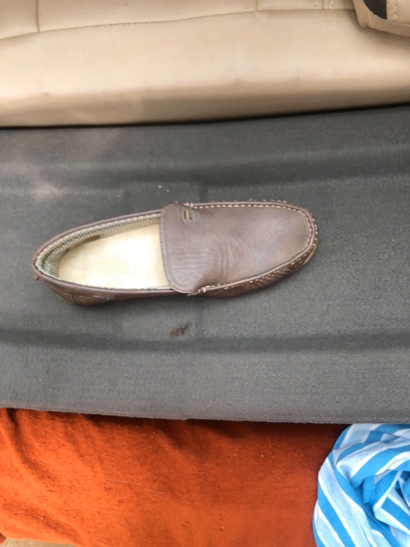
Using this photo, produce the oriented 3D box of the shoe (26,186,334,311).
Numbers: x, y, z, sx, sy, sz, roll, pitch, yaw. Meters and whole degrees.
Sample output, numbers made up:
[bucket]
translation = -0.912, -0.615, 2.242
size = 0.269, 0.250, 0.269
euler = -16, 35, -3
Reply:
[shoe]
translation = -0.024, -0.018, 0.415
size = 0.260, 0.050, 0.080
euler = -4, 72, 8
